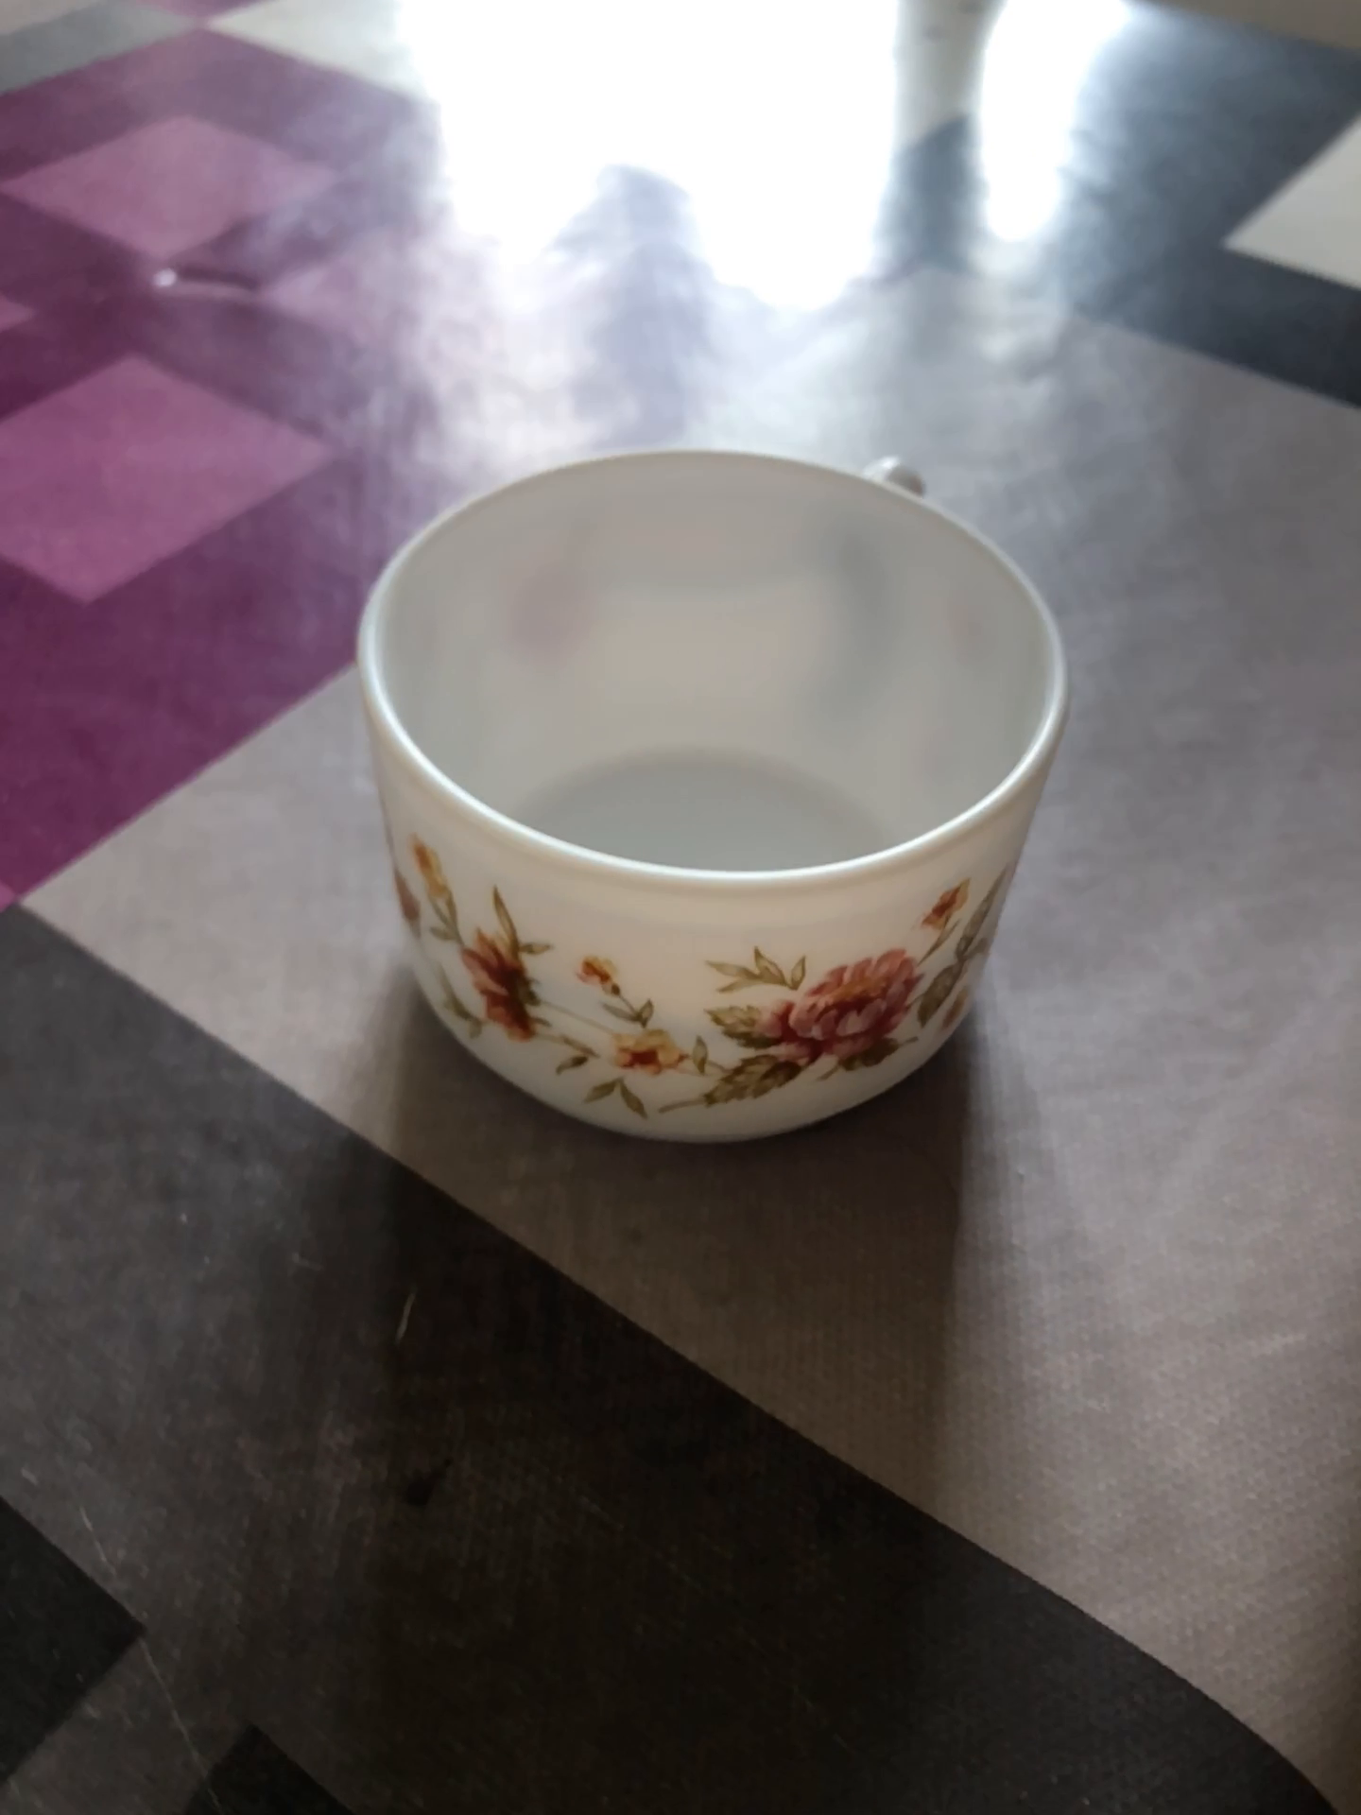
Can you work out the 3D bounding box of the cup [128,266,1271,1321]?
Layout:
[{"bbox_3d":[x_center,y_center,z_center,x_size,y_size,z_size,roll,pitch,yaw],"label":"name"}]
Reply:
[{"bbox_3d":[0.008,-0.024,0.189,0.080,0.050,0.111,27,51,21],"label":"cup"}]
